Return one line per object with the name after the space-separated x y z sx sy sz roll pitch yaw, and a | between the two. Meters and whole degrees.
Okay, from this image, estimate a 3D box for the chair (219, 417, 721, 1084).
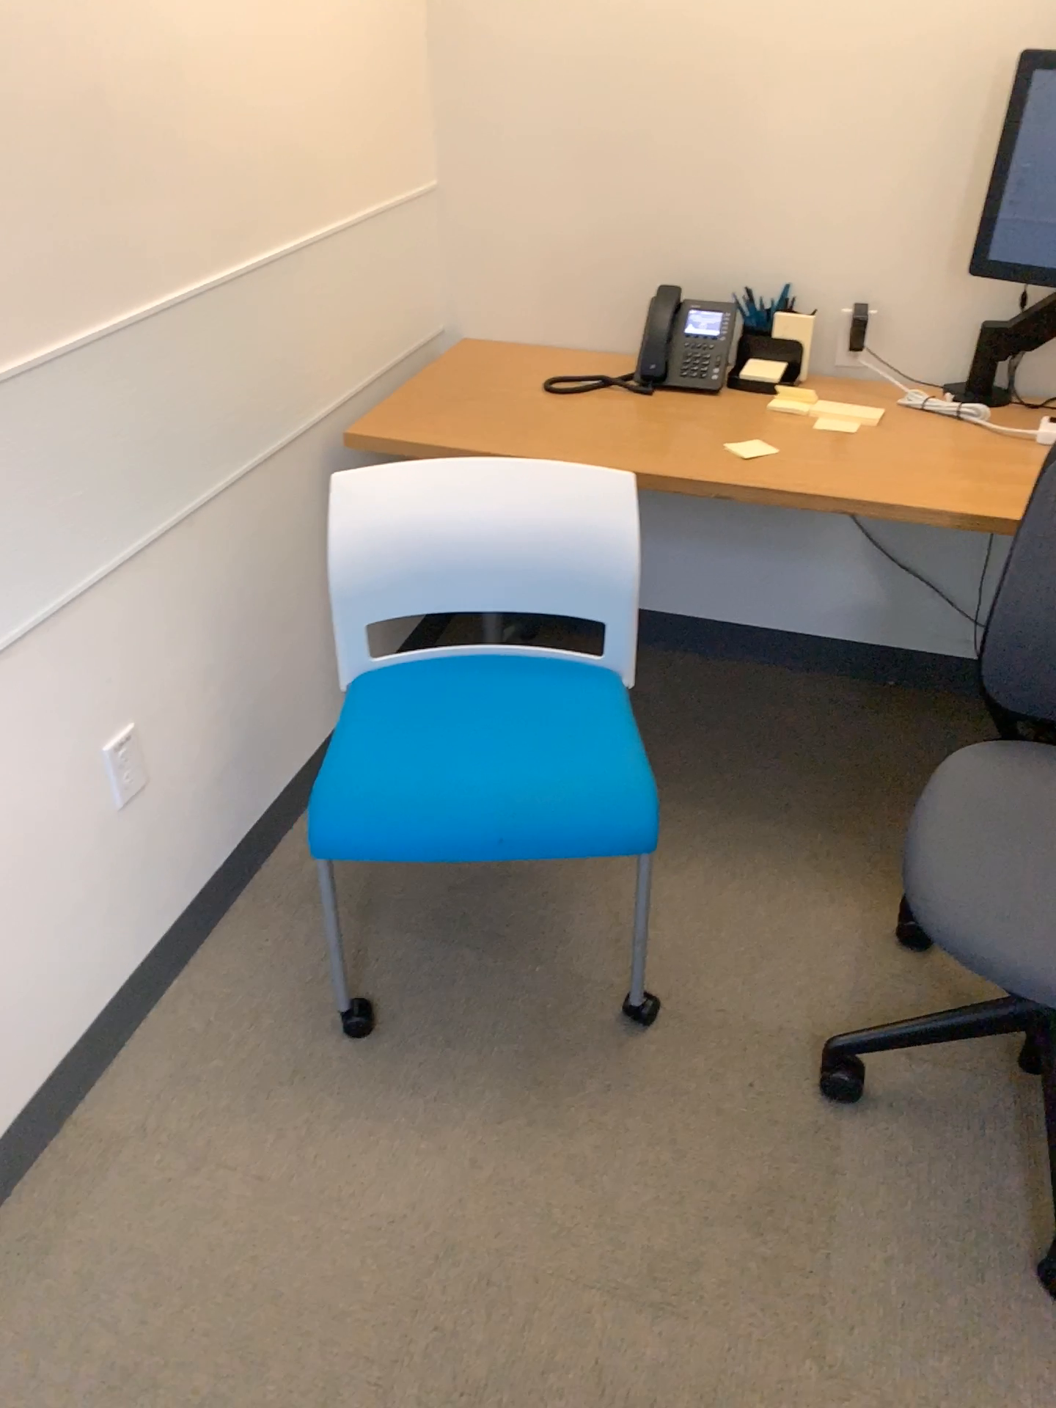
-0.063 0.029 1.651 0.530 0.686 0.795 0 34 0 | chair

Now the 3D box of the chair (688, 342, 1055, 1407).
0.810 0.124 1.479 0.752 0.885 0.973 20 39 26 | chair
